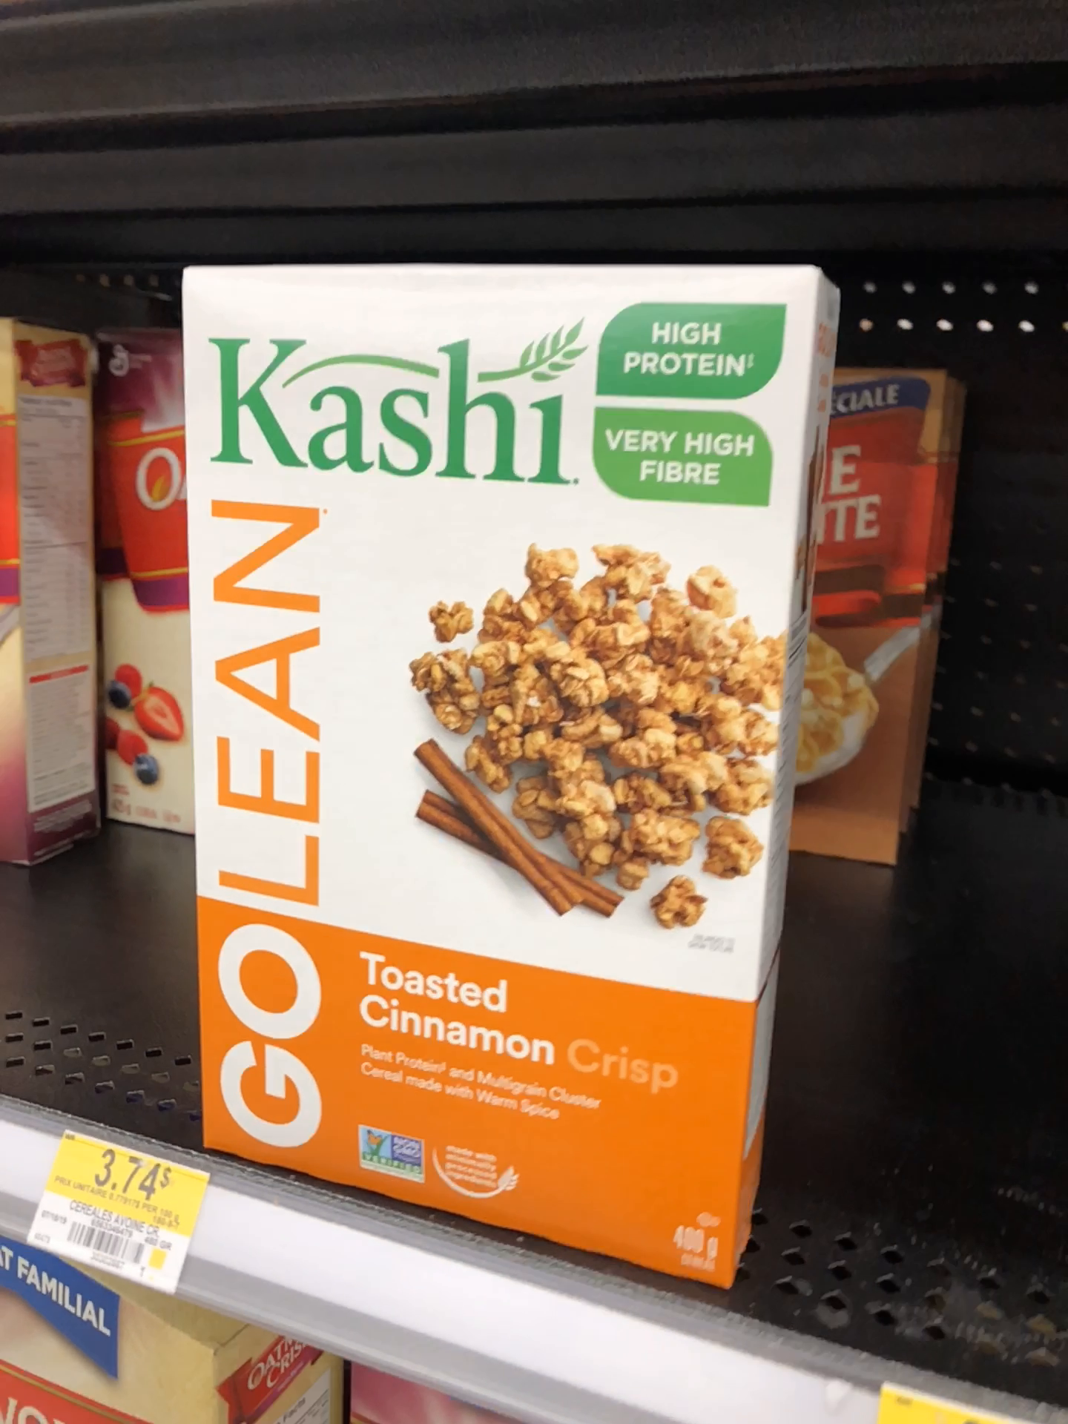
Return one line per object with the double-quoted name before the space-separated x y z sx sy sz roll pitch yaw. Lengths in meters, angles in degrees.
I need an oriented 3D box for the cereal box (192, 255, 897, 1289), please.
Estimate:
"cereal box" -0.004 0.010 0.325 0.170 0.249 0.050 7 14 19
